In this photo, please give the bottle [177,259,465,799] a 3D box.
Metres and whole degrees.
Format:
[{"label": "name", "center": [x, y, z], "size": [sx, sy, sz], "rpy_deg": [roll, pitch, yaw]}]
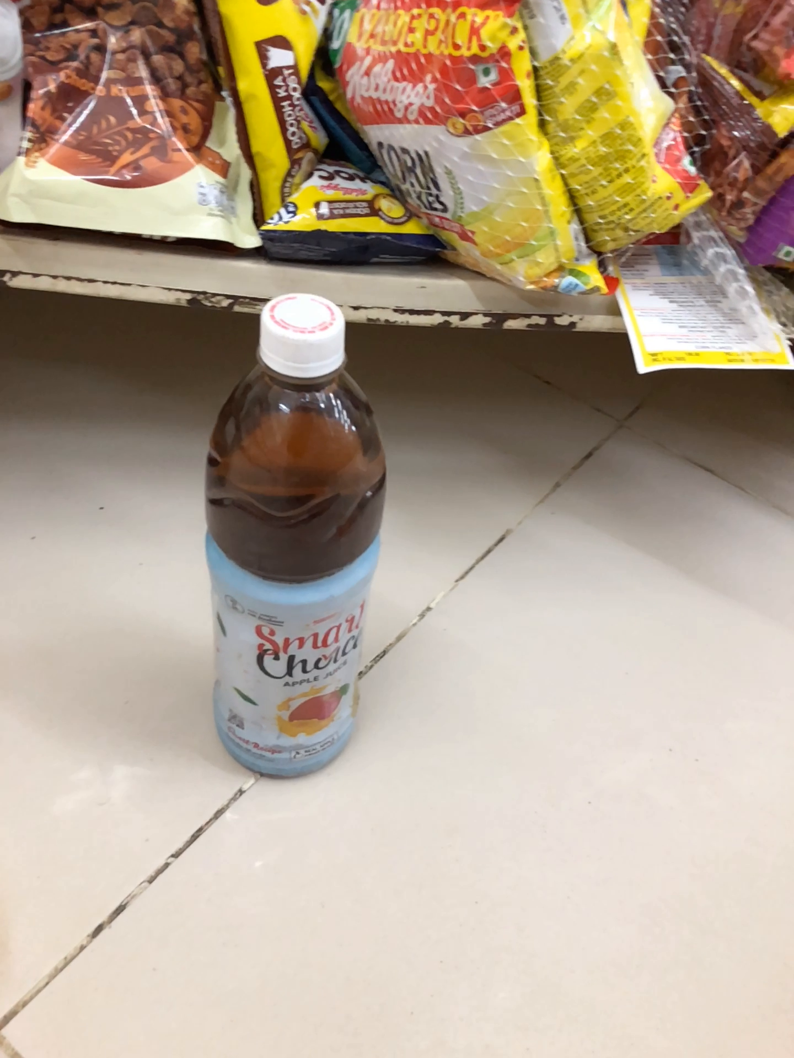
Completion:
[{"label": "bottle", "center": [-0.044, 0.016, 0.391], "size": [0.080, 0.248, 0.080], "rpy_deg": [5, 46, -5]}]
